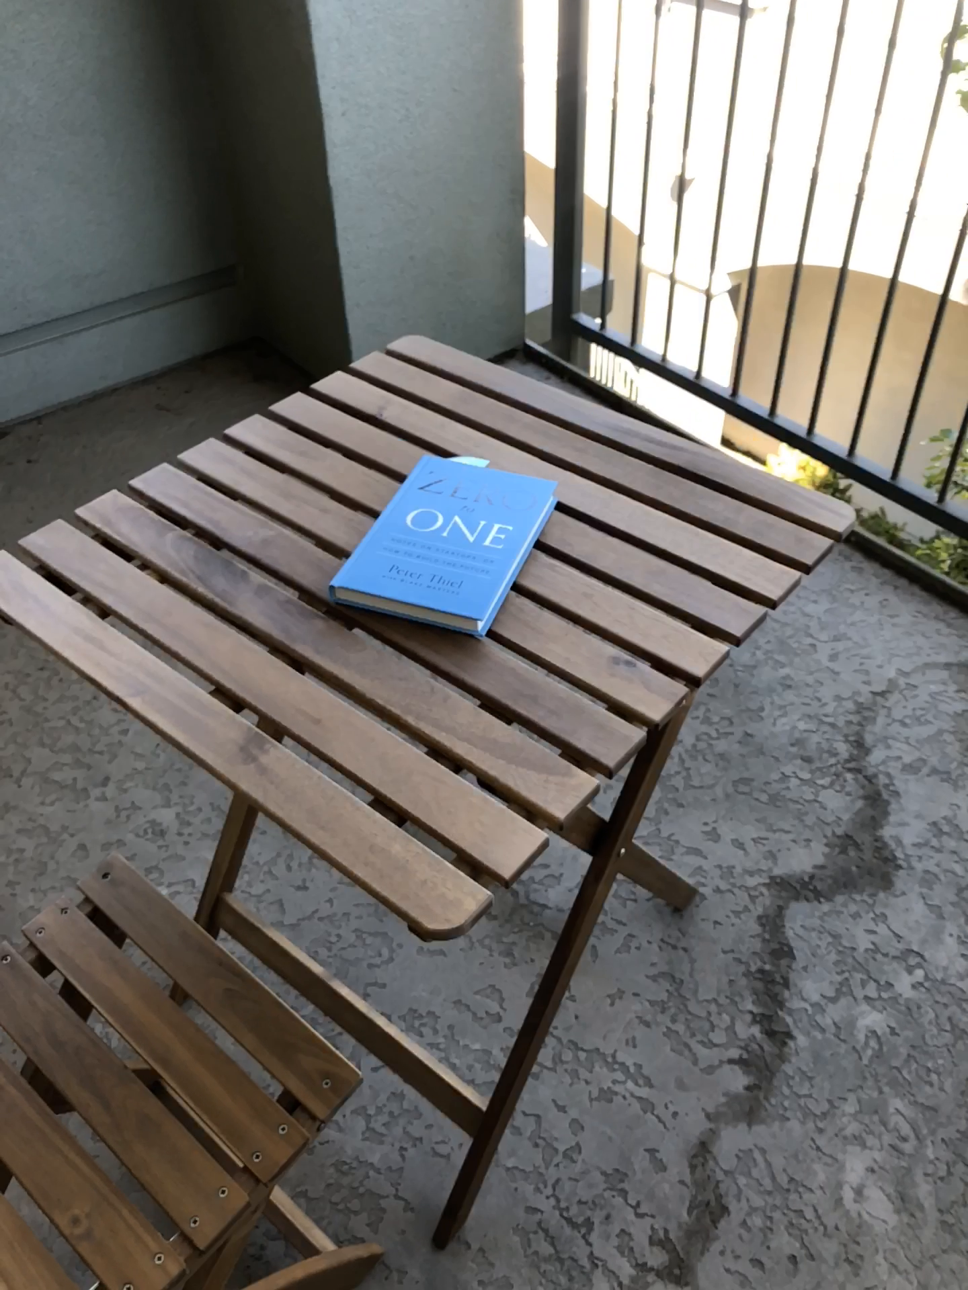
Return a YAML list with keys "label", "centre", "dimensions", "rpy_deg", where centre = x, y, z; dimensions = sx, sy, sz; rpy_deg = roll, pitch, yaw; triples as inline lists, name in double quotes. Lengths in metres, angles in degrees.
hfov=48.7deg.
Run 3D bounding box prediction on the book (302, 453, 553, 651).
- label: "book"
  centre: [-0.045, -0.095, 0.996]
  dimensions: [0.160, 0.030, 0.221]
  rpy_deg: [13, 45, 15]
